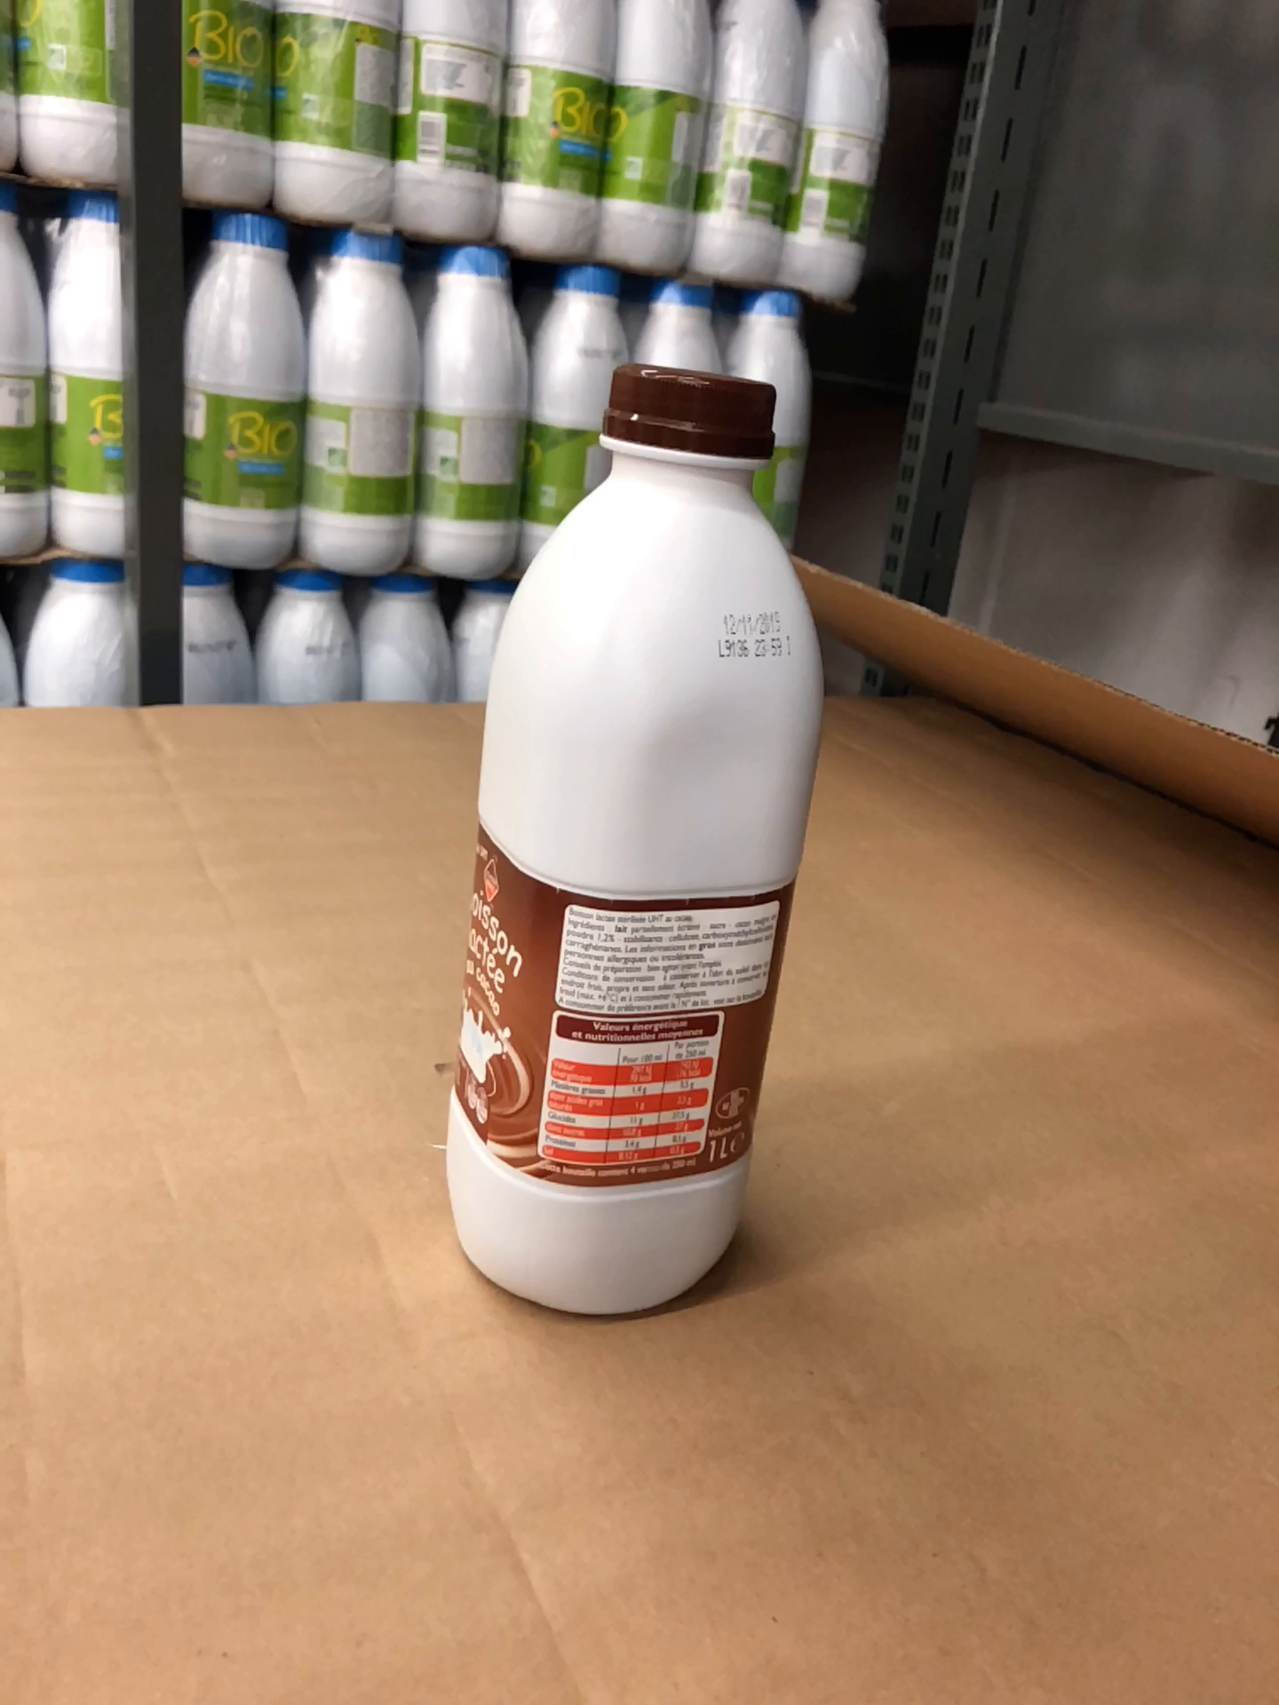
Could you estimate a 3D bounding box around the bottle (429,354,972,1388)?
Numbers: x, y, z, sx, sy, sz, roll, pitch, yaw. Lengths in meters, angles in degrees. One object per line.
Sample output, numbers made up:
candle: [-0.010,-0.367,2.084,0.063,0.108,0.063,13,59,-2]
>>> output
bottle: [0.004,0.003,0.366,0.080,0.239,0.090,-4,22,-26]
